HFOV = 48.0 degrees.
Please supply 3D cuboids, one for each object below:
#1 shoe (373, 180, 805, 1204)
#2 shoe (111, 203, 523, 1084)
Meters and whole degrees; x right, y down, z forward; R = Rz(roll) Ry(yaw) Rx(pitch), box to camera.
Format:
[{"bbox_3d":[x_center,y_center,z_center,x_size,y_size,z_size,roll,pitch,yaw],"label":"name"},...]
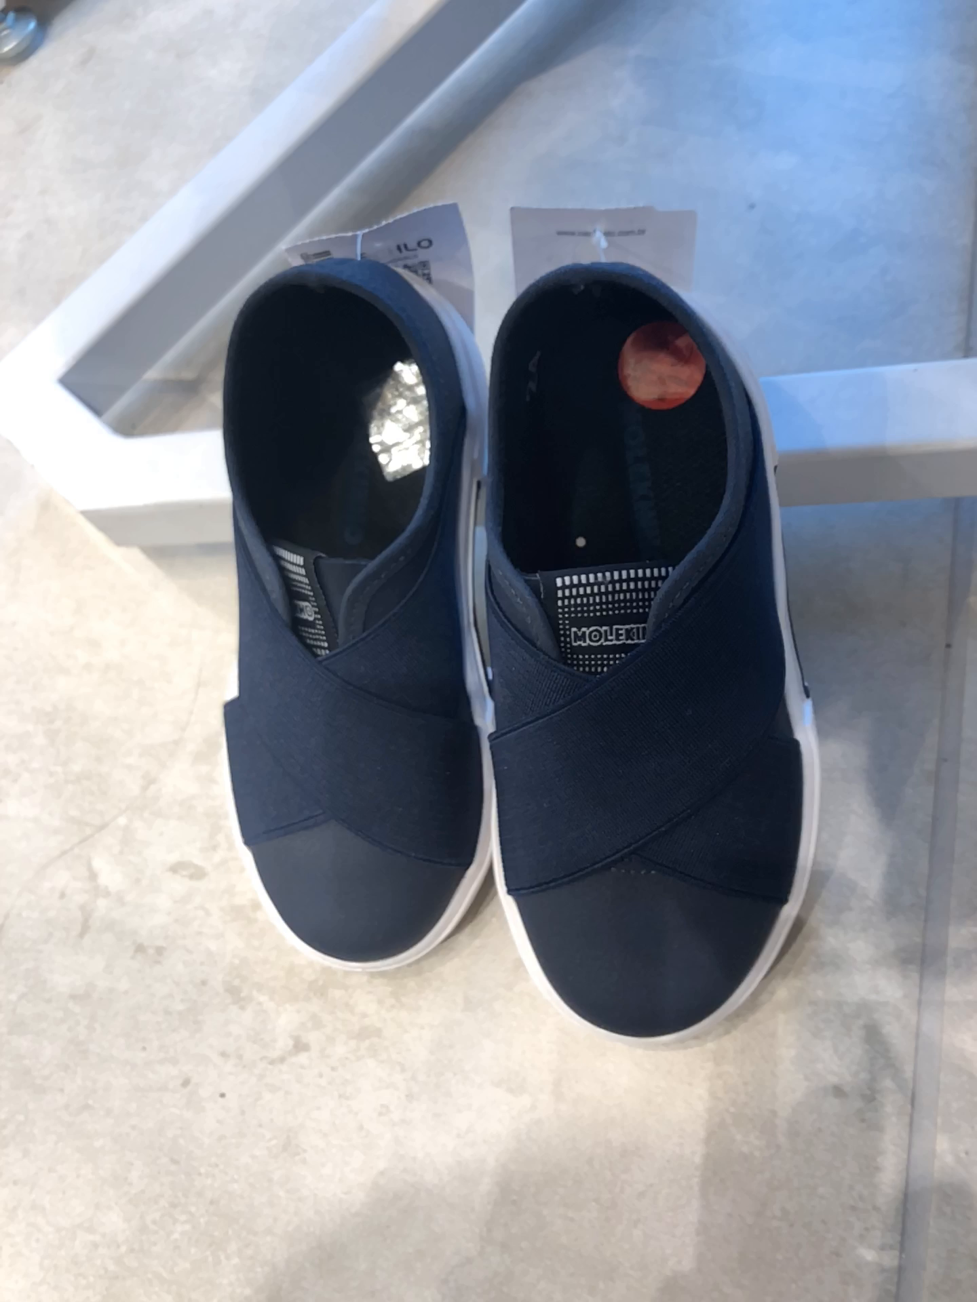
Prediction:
[{"bbox_3d":[0.028,0.008,0.234,0.070,0.070,0.180,-1,98,18],"label":"shoe"},{"bbox_3d":[-0.034,-0.002,0.263,0.070,0.070,0.180,1,99,13],"label":"shoe"}]
